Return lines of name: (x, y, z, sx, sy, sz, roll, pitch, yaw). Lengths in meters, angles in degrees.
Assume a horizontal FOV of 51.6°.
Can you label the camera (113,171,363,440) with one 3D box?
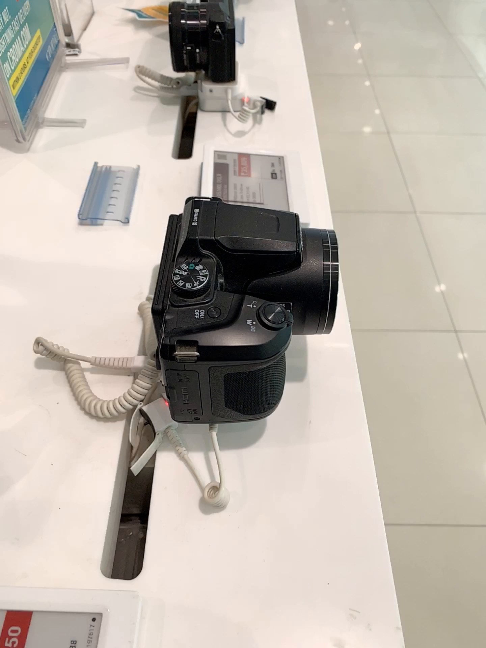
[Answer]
camera: (-0.002, -0.012, 0.271, 0.100, 0.080, 0.120, 1, 50, 0)
